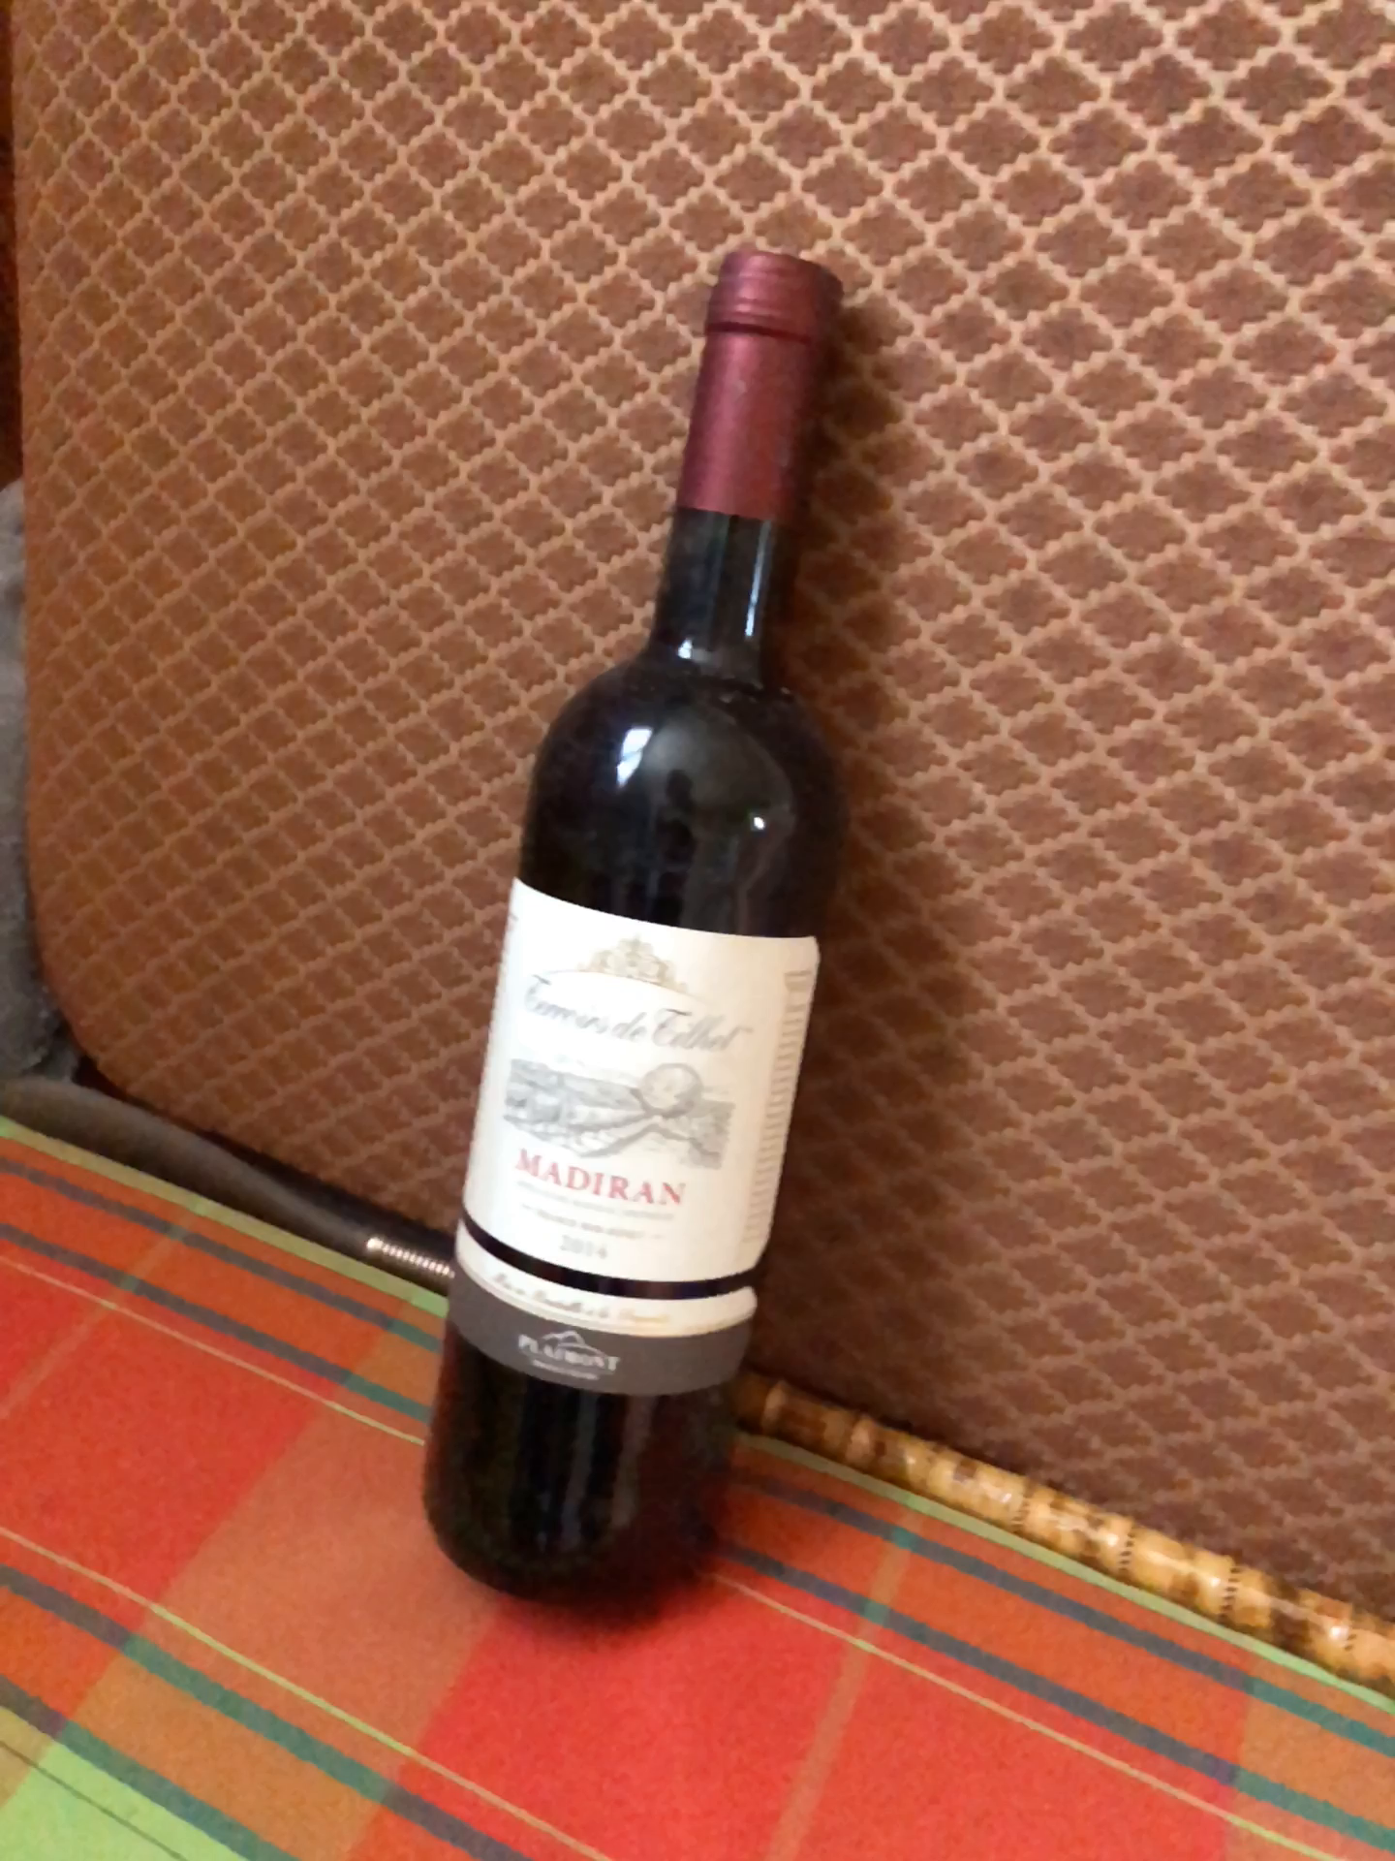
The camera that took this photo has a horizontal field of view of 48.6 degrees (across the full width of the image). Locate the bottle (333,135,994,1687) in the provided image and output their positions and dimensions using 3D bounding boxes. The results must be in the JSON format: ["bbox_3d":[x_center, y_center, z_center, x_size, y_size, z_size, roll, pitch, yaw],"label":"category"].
[{"bbox_3d":[-0.007,-0.001,0.348,0.080,0.299,0.090,12,11,14],"label":"bottle"}]
